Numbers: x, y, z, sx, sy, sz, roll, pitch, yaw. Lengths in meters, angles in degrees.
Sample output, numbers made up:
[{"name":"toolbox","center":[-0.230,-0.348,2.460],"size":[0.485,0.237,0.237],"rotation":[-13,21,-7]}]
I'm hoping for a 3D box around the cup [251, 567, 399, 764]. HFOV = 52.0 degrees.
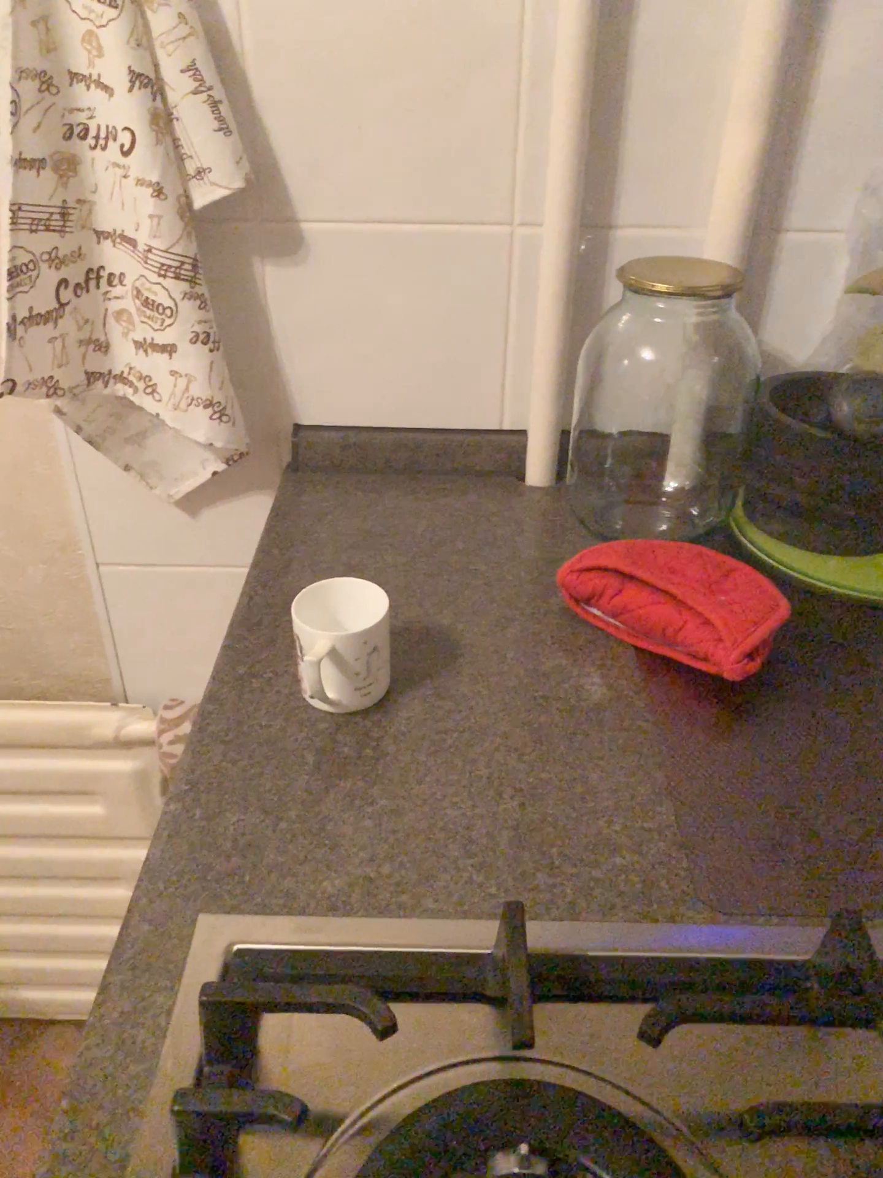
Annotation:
[{"name":"cup","center":[-0.066,0.043,0.543],"size":[0.060,0.069,0.091],"rotation":[7,33,9]}]
